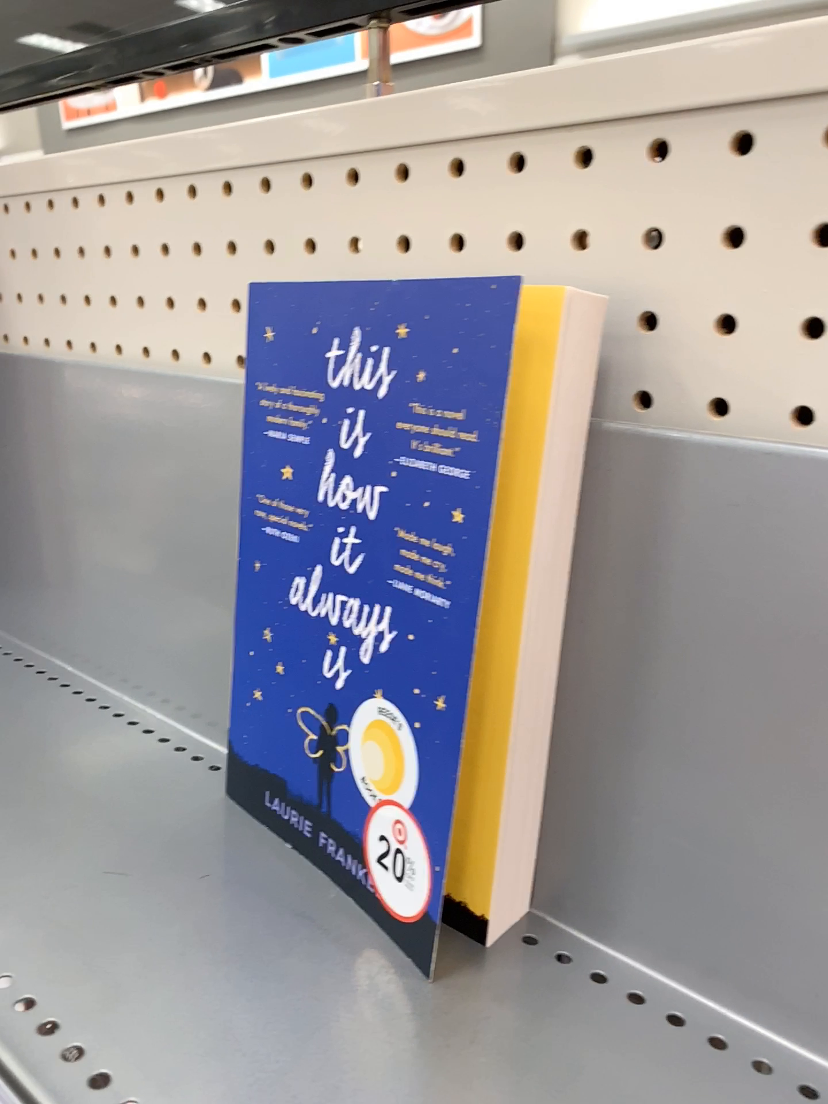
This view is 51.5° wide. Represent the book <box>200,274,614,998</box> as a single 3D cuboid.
[{"bbox_3d":[-0.017,0.014,0.301,0.044,0.209,0.140,-5,17,-41],"label":"book"}]
